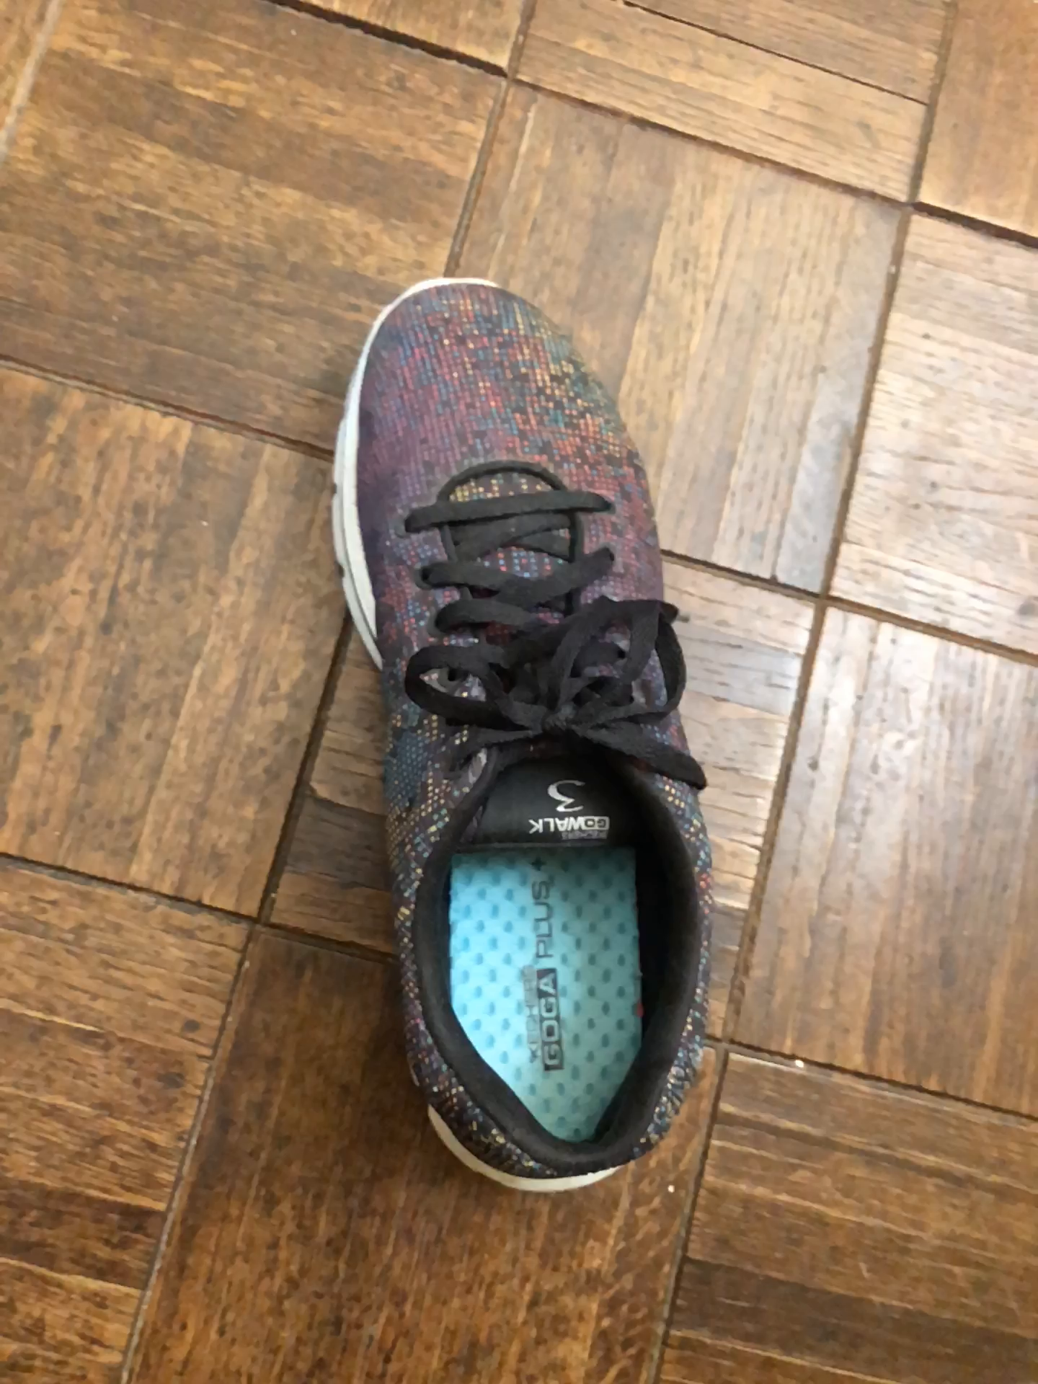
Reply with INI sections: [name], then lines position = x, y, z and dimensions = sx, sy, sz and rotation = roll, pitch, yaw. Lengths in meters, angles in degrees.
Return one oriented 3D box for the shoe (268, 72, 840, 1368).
[shoe]
position = -0.002, 0.001, 0.322
dimensions = 0.110, 0.120, 0.290
rotation = -3, 82, -7
